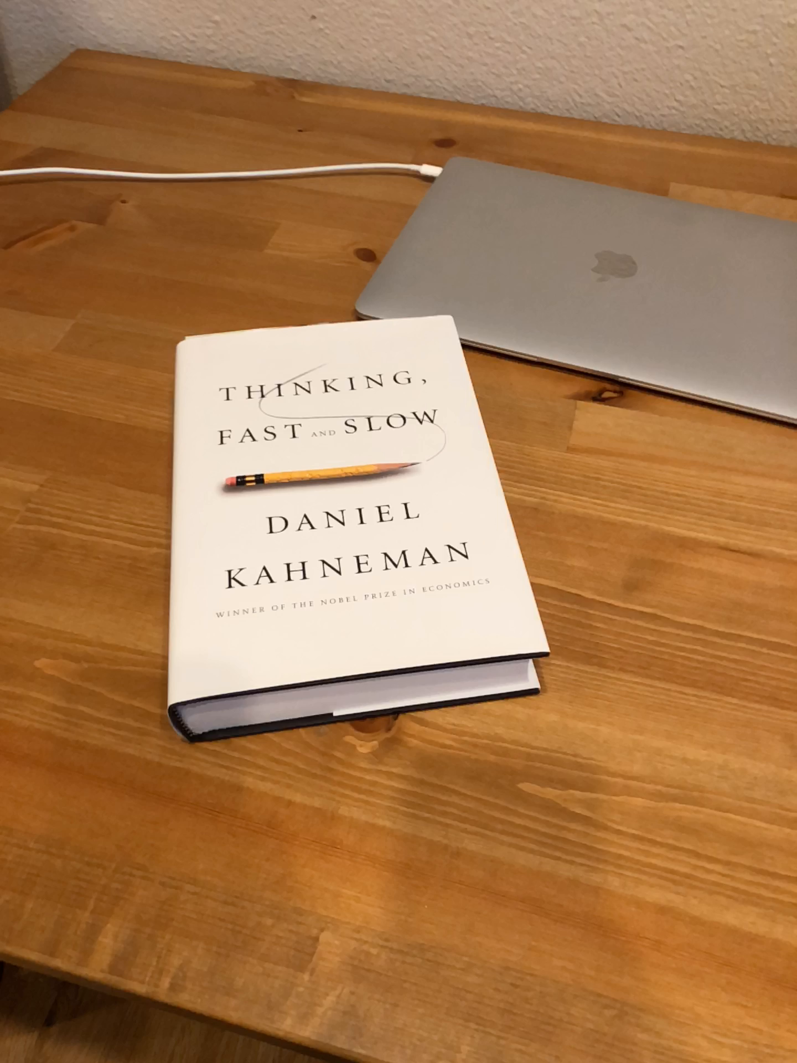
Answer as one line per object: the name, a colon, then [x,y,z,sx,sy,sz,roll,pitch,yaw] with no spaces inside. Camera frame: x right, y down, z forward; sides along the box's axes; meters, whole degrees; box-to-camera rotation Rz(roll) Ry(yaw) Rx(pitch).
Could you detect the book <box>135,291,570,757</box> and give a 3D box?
book: [-0.035,-0.021,0.467,0.180,0.060,0.251,-6,50,-6]
